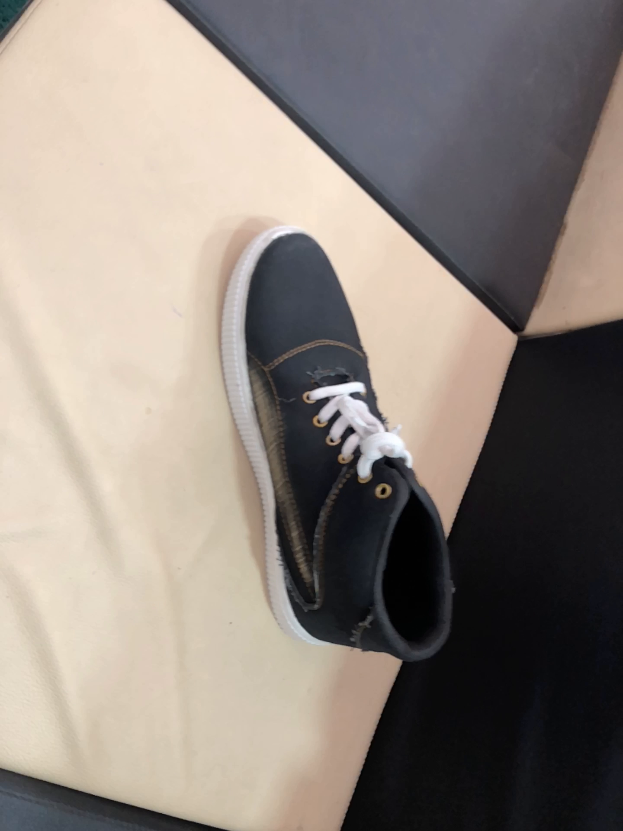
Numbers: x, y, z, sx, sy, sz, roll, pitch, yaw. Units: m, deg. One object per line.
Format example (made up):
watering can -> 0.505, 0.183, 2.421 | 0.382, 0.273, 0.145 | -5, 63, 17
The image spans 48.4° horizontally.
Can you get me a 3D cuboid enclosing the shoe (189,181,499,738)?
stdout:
shoe -> 0.020, 0.021, 0.438 | 0.101, 0.109, 0.300 | -13, 95, -34
